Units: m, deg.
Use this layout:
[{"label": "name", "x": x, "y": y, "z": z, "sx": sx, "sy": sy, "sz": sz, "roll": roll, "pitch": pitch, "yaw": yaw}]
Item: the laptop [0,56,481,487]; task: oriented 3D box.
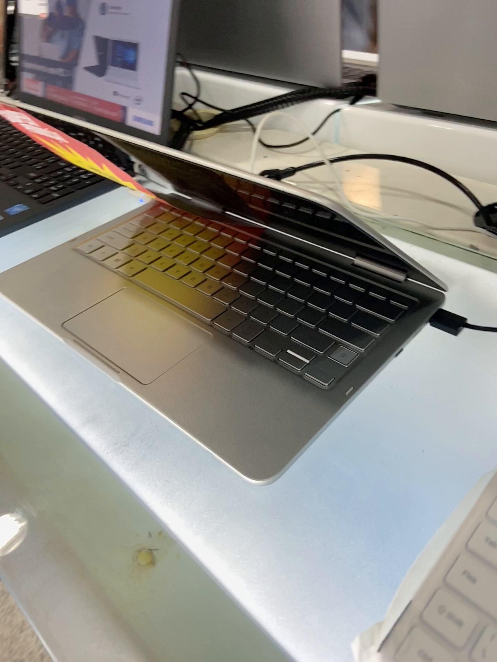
[{"label": "laptop", "x": -0.045, "y": -0.083, "z": 0.358, "sx": 0.307, "sy": 0.132, "sz": 0.201, "roll": 28, "pitch": 50, "yaw": 34}]
